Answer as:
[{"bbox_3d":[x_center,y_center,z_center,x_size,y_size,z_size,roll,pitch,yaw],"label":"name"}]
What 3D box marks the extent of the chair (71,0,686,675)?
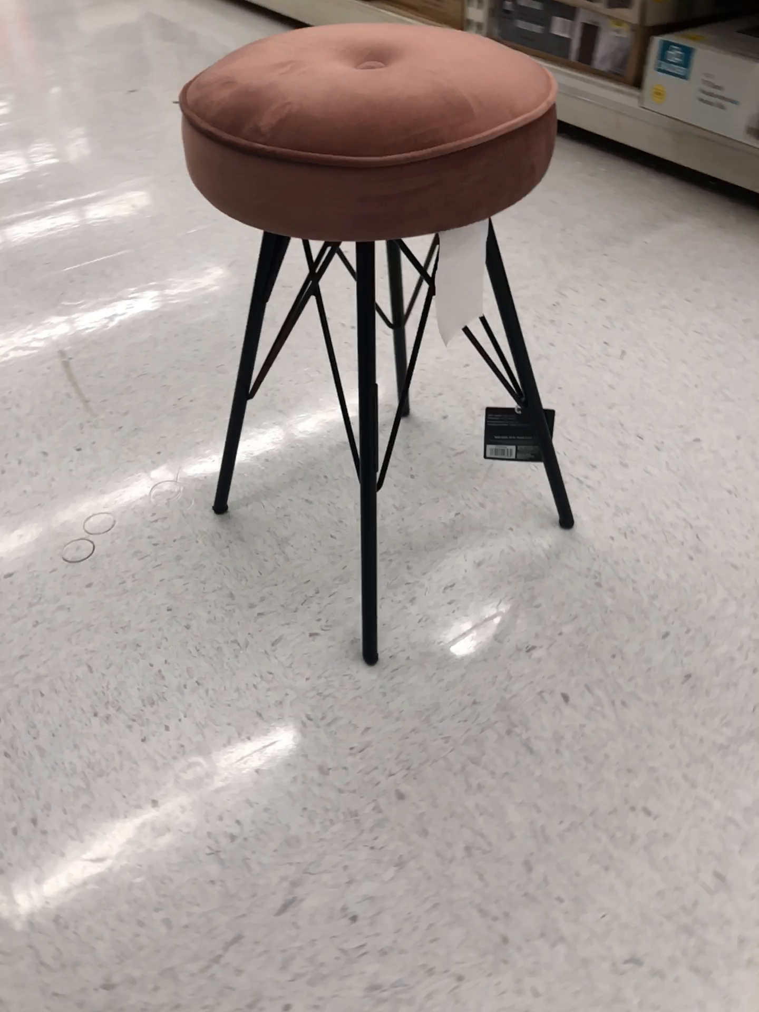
[{"bbox_3d":[0.001,-0.186,0.845,0.360,0.498,0.351,-30,48,-26],"label":"chair"}]
